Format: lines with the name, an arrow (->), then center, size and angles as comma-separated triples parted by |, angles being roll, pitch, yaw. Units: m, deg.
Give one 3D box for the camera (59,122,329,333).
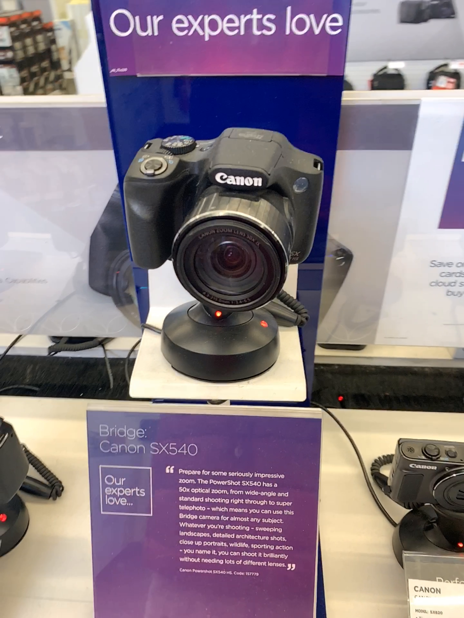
camera -> -0.010, -0.054, 0.274 | 0.120, 0.069, 0.111 | 5, 37, 9
